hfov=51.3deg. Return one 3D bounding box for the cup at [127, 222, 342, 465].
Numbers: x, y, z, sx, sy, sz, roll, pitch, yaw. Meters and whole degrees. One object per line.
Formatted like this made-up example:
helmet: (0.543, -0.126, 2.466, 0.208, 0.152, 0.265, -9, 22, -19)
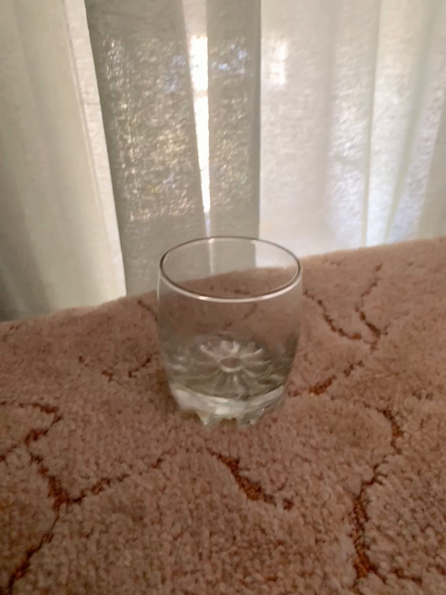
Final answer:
cup: (0.006, 0.019, 0.274, 0.080, 0.089, 0.090, -21, 33, -28)
